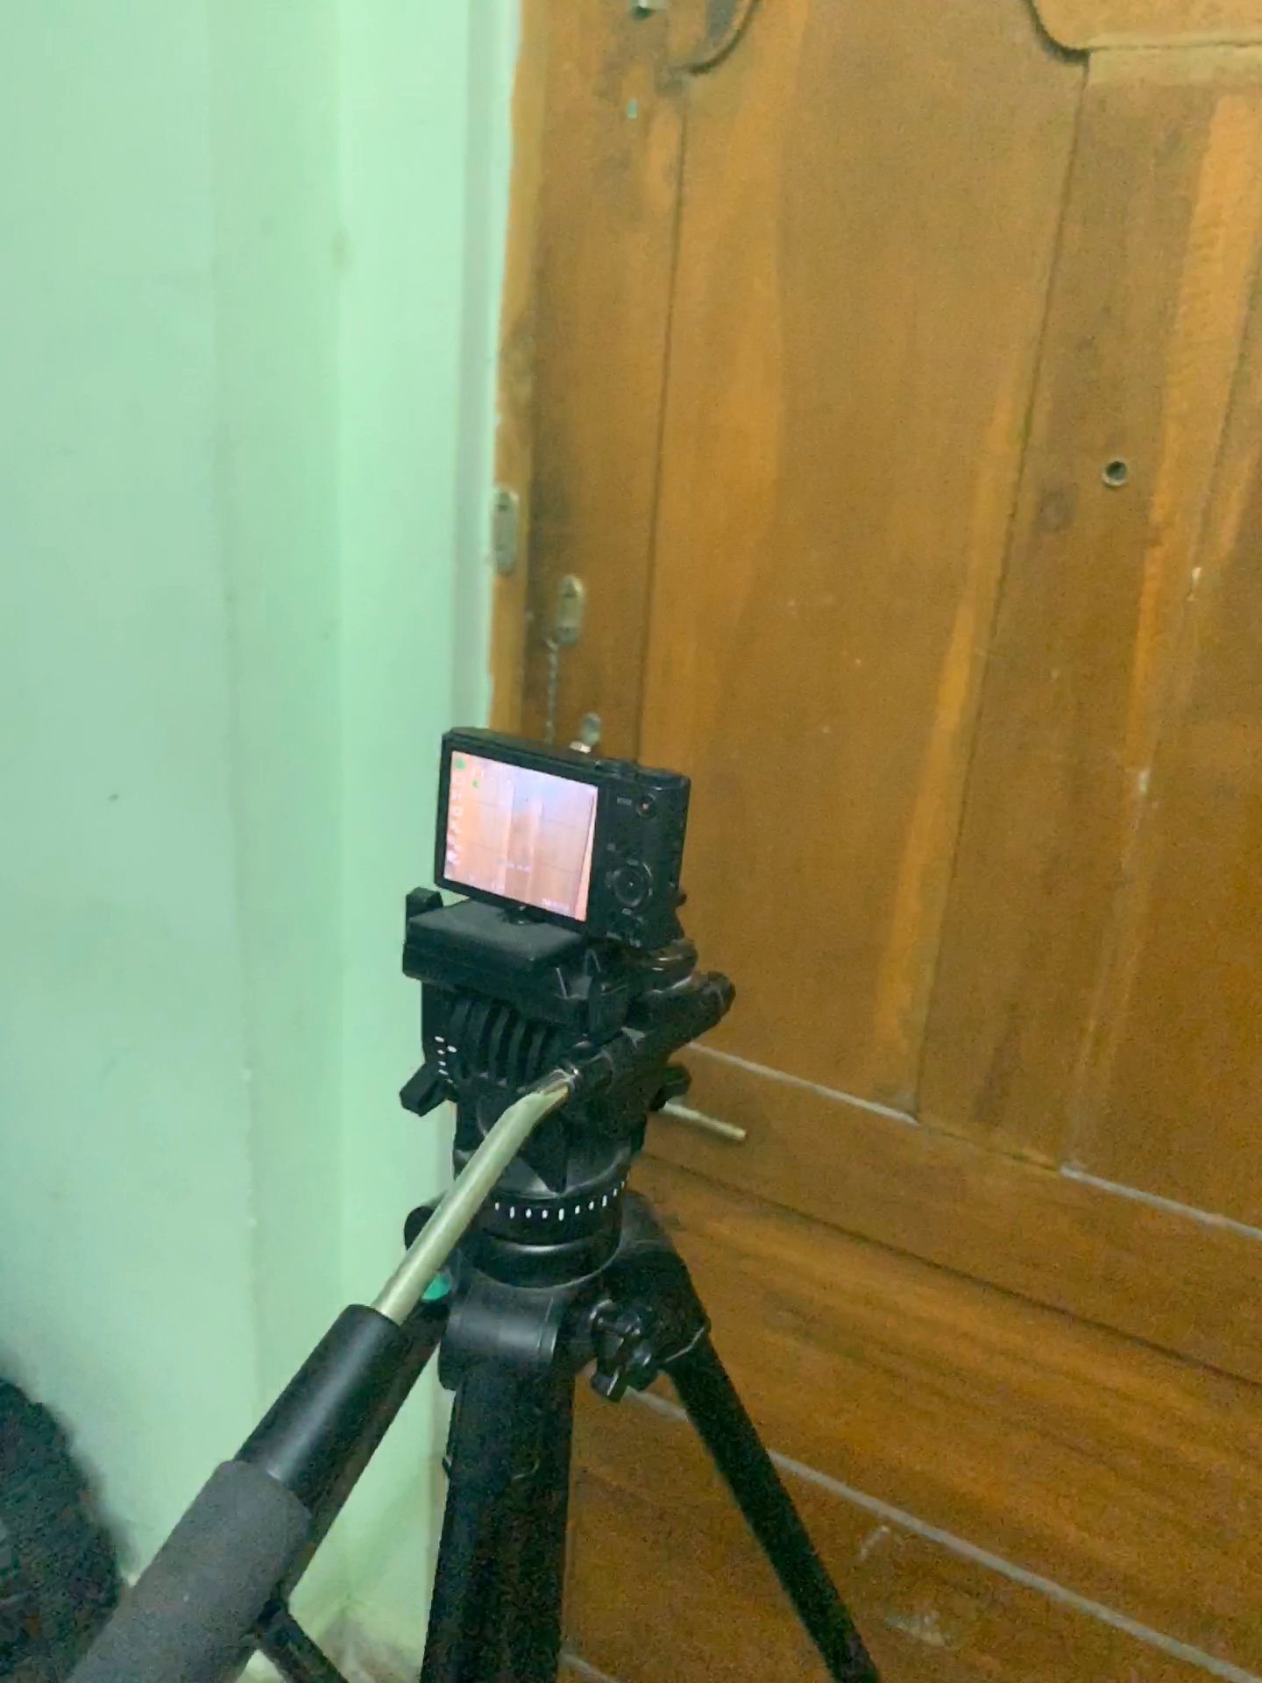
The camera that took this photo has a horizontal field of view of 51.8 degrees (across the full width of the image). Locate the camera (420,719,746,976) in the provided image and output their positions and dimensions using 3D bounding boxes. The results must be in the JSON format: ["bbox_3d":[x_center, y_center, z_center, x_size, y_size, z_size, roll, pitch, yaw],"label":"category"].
[{"bbox_3d":[-0.018,-0.001,0.445,0.100,0.060,0.040,16,17,29],"label":"camera"}]
